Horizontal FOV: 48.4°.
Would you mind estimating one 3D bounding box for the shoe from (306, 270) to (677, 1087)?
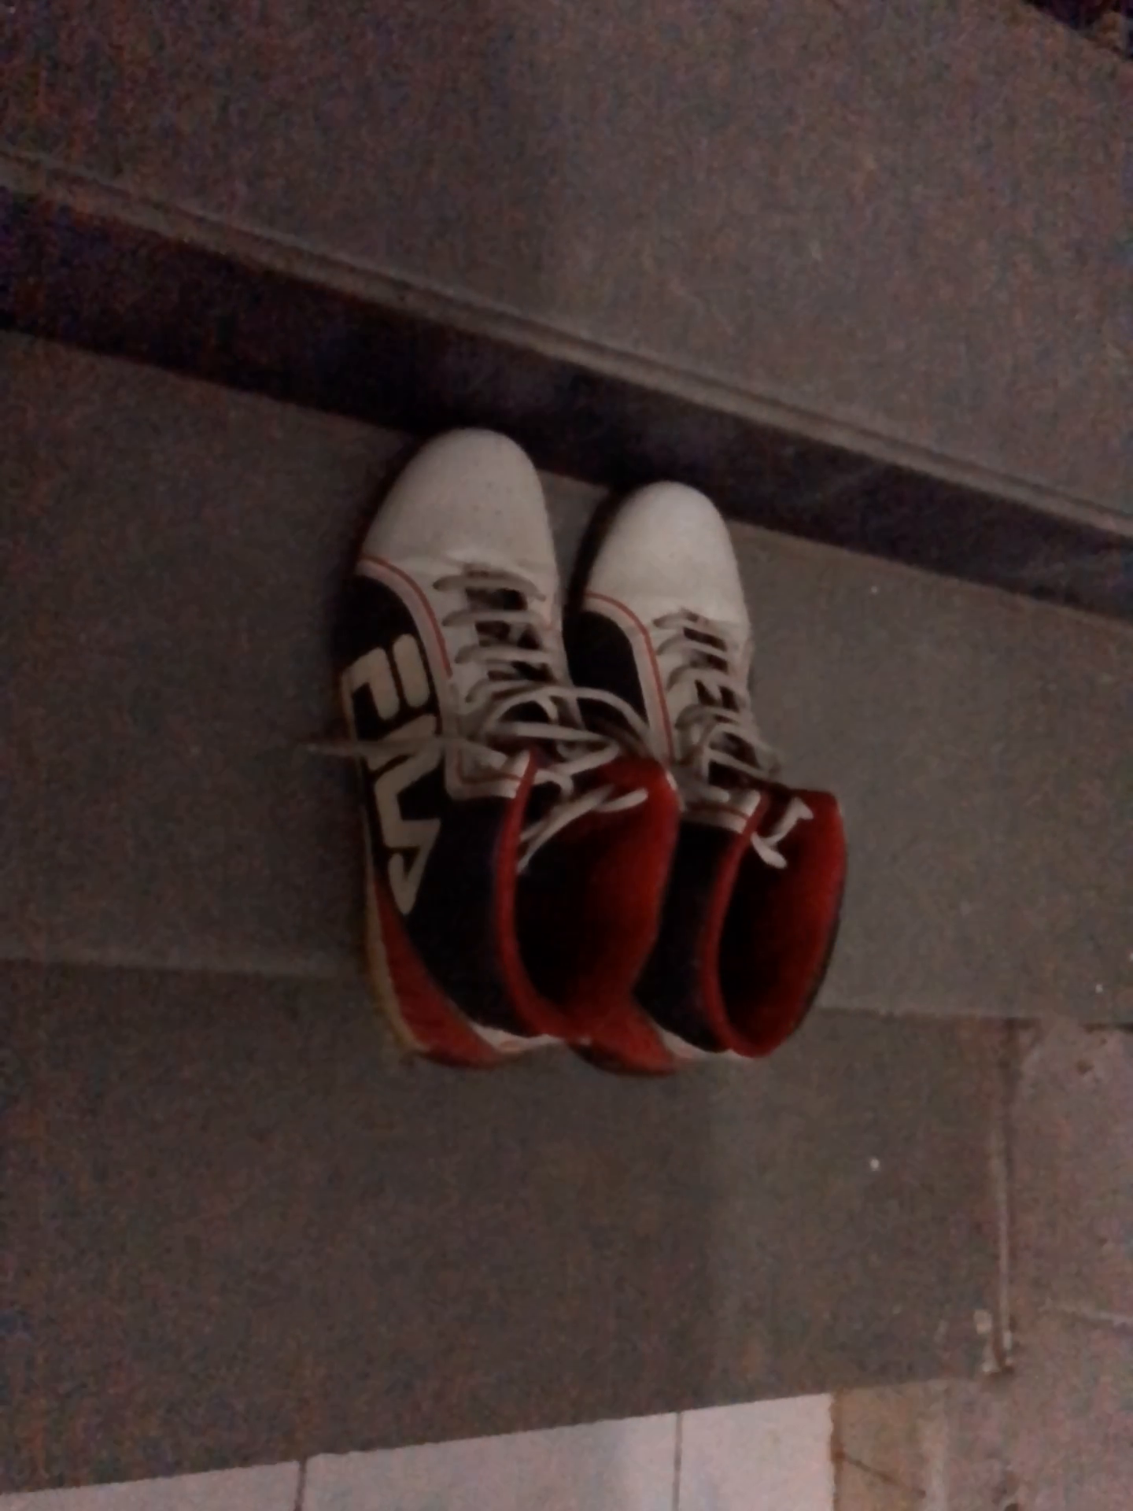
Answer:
[{"bbox_3d":[-0.033,-0.022,0.540,0.110,0.120,0.310,6,77,-27],"label":"shoe"}]

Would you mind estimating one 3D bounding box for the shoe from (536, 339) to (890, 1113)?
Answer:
[{"bbox_3d":[0.066,-0.006,0.560,0.110,0.100,0.310,9,76,-26],"label":"shoe"}]
